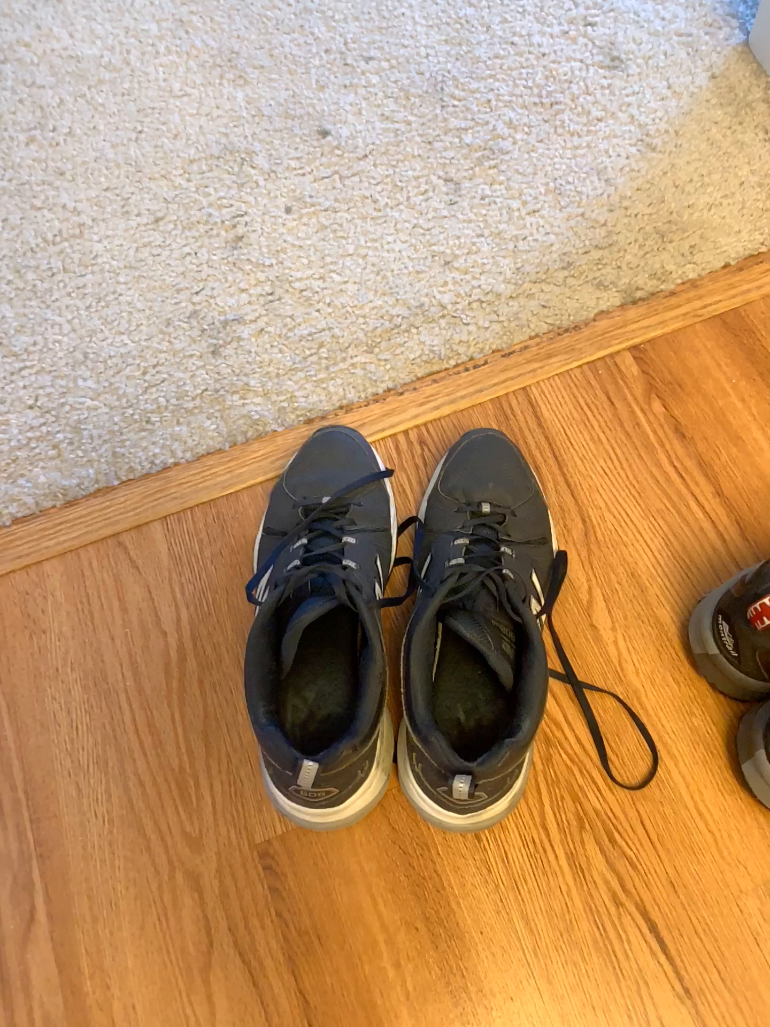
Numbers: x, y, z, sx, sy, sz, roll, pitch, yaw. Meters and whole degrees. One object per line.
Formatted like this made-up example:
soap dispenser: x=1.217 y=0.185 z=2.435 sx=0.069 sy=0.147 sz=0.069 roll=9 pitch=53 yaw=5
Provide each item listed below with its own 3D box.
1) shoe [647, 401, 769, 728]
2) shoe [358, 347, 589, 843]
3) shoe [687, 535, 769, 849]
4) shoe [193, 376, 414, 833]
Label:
shoe: x=0.372 y=0.045 z=0.557 sx=0.300 sy=0.170 sz=0.120 roll=-12 pitch=66 yaw=-3
shoe: x=0.064 y=0.054 z=0.538 sx=0.120 sy=0.130 sz=0.301 roll=5 pitch=66 yaw=4
shoe: x=0.410 y=0.131 z=0.535 sx=0.320 sy=0.180 sz=0.140 roll=-6 pitch=66 yaw=-1
shoe: x=-0.049 y=0.065 z=0.582 sx=0.130 sy=0.120 sz=0.311 roll=-2 pitch=66 yaw=1
